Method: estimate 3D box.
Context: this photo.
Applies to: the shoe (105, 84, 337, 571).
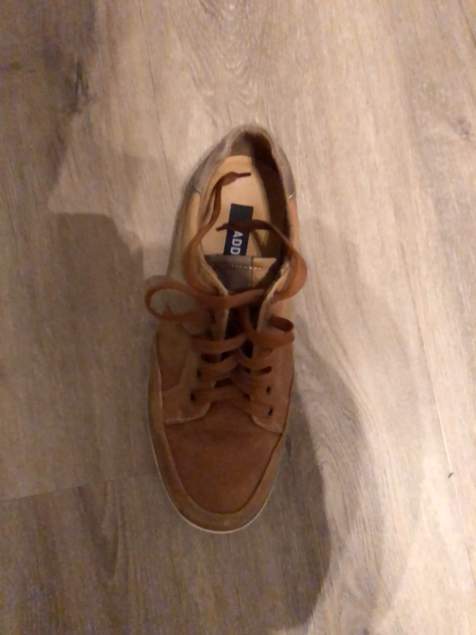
[{"bbox_3d":[-0.008,0.005,0.362,0.110,0.100,0.280,6,83,-2],"label":"shoe"}]
